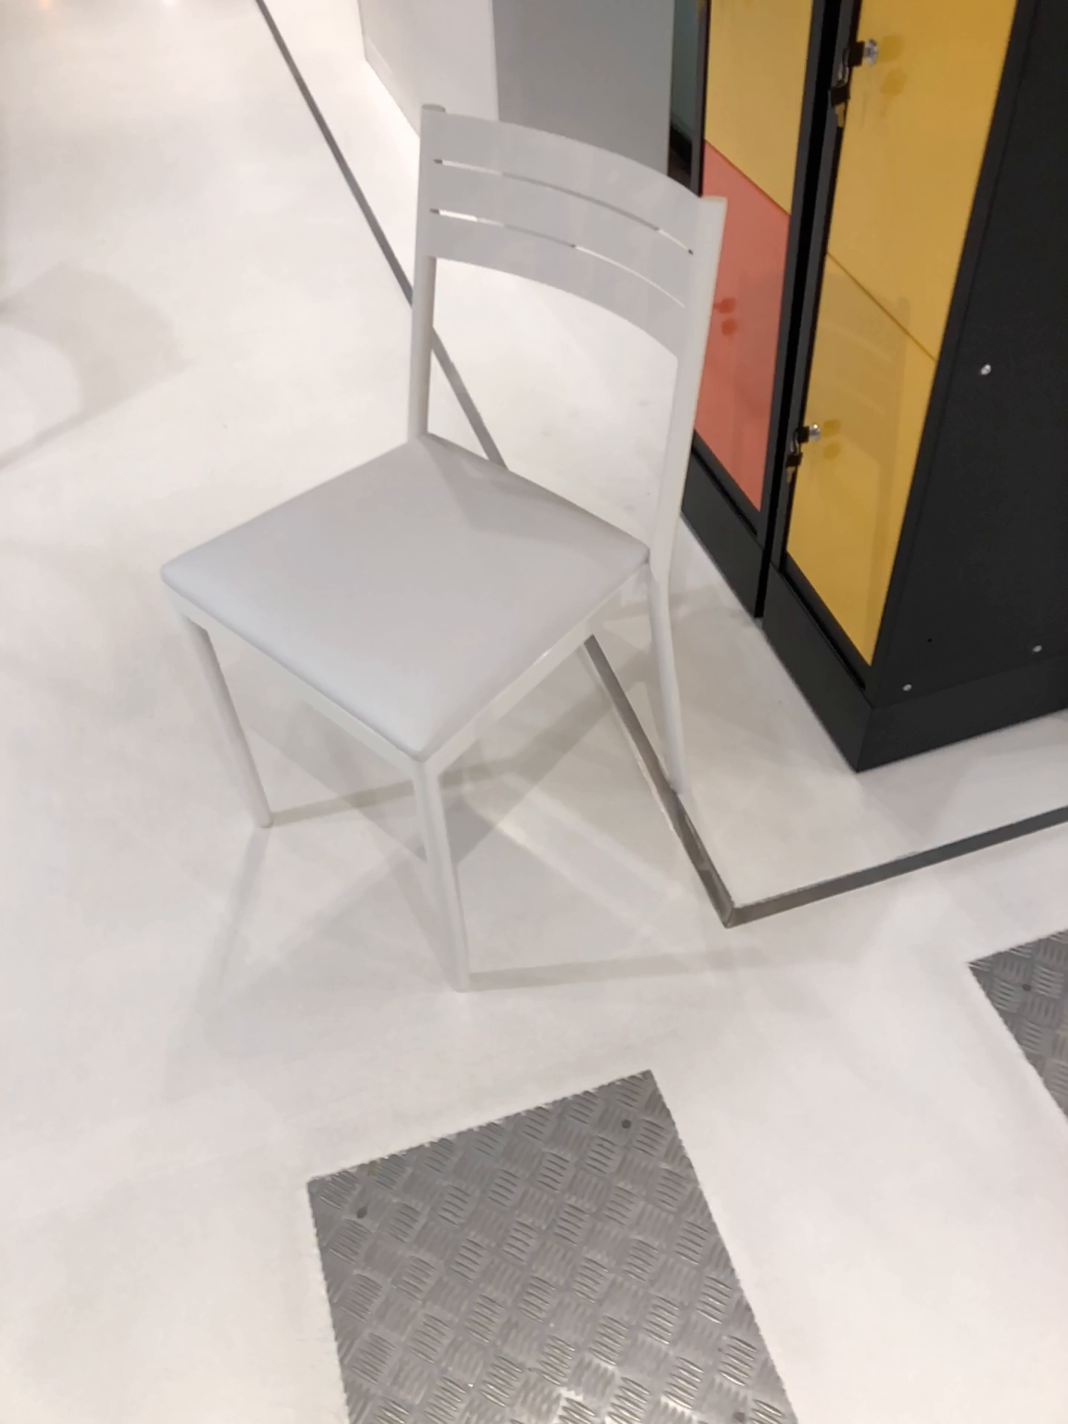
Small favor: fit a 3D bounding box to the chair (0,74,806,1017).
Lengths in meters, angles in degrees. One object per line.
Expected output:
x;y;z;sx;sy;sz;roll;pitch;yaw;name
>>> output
-0.099;-0.171;1.290;0.481;0.735;0.532;33;58;29;chair
